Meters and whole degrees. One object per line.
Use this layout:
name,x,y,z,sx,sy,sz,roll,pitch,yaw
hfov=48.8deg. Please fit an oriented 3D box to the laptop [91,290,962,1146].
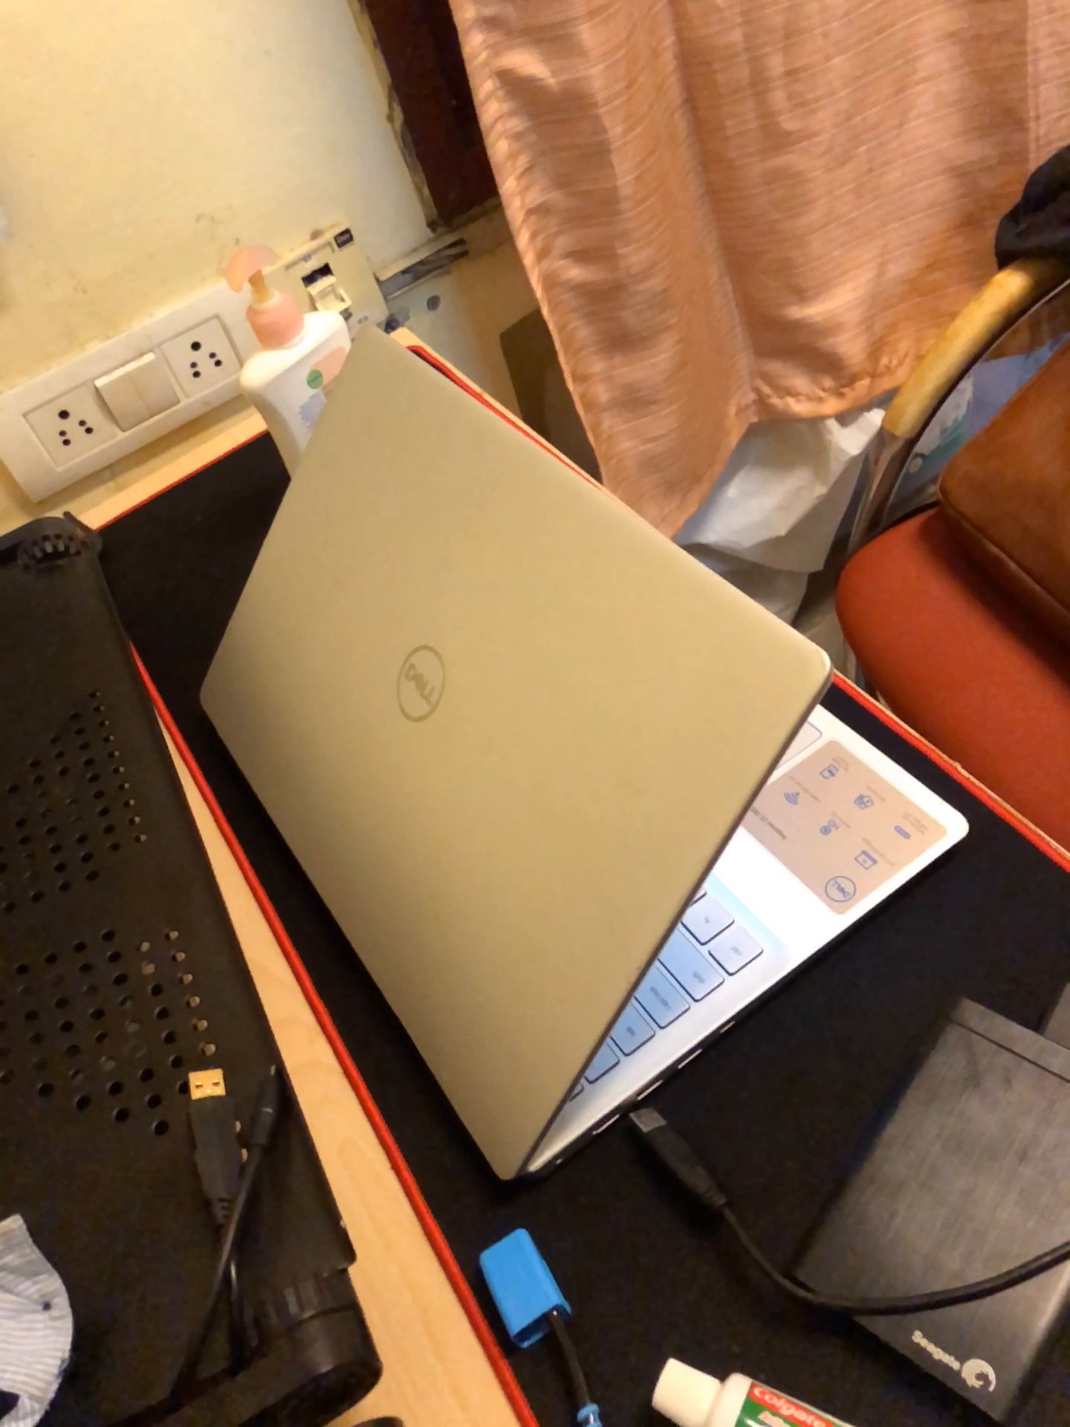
laptop,-0.018,-0.031,0.544,0.218,0.140,0.352,-34,48,-13
